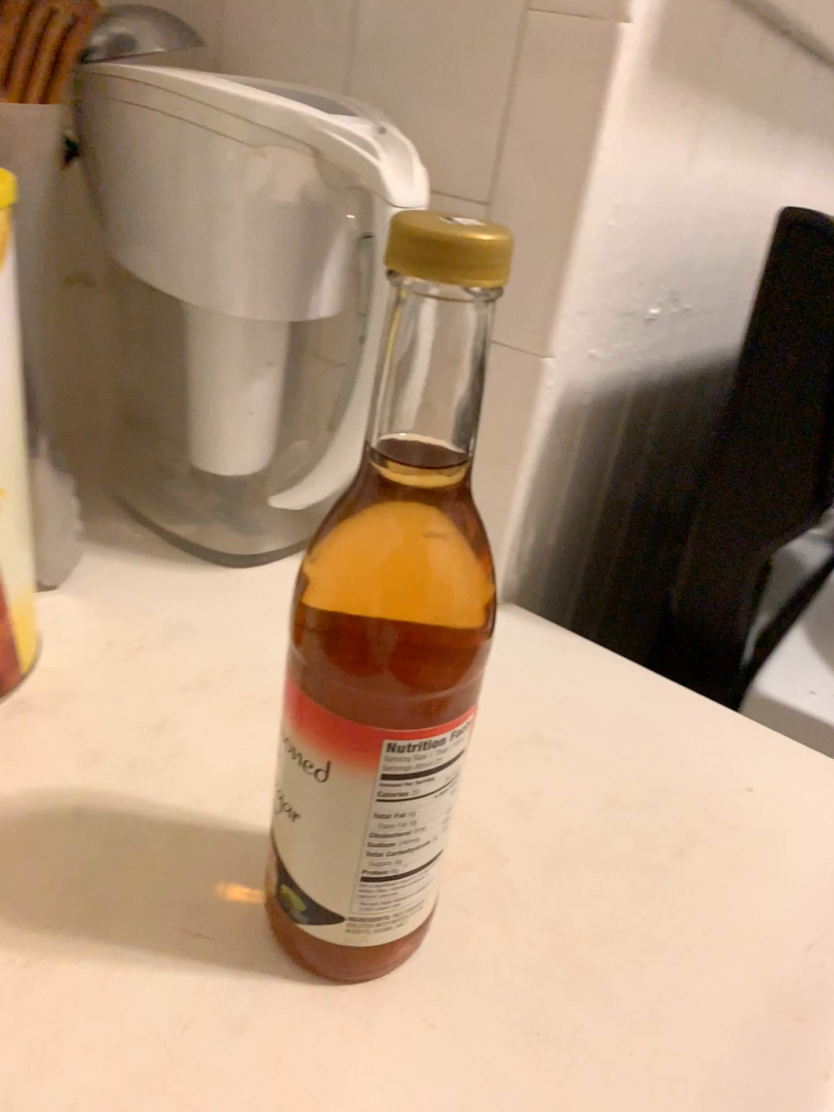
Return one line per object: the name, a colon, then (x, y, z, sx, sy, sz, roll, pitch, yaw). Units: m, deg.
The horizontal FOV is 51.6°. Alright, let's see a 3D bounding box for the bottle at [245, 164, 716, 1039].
bottle: (0.000, 0.023, 0.252, 0.070, 0.239, 0.070, 8, 27, -4)
